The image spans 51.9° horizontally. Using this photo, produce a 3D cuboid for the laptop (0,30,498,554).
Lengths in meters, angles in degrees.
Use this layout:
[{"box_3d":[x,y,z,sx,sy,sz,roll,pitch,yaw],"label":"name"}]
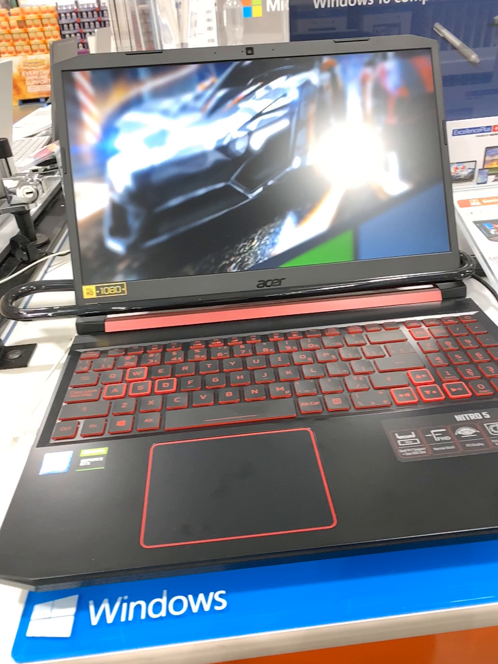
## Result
[{"box_3d":[0.016,-0.083,0.377,0.358,0.198,0.381,-5,33,-1],"label":"laptop"}]
